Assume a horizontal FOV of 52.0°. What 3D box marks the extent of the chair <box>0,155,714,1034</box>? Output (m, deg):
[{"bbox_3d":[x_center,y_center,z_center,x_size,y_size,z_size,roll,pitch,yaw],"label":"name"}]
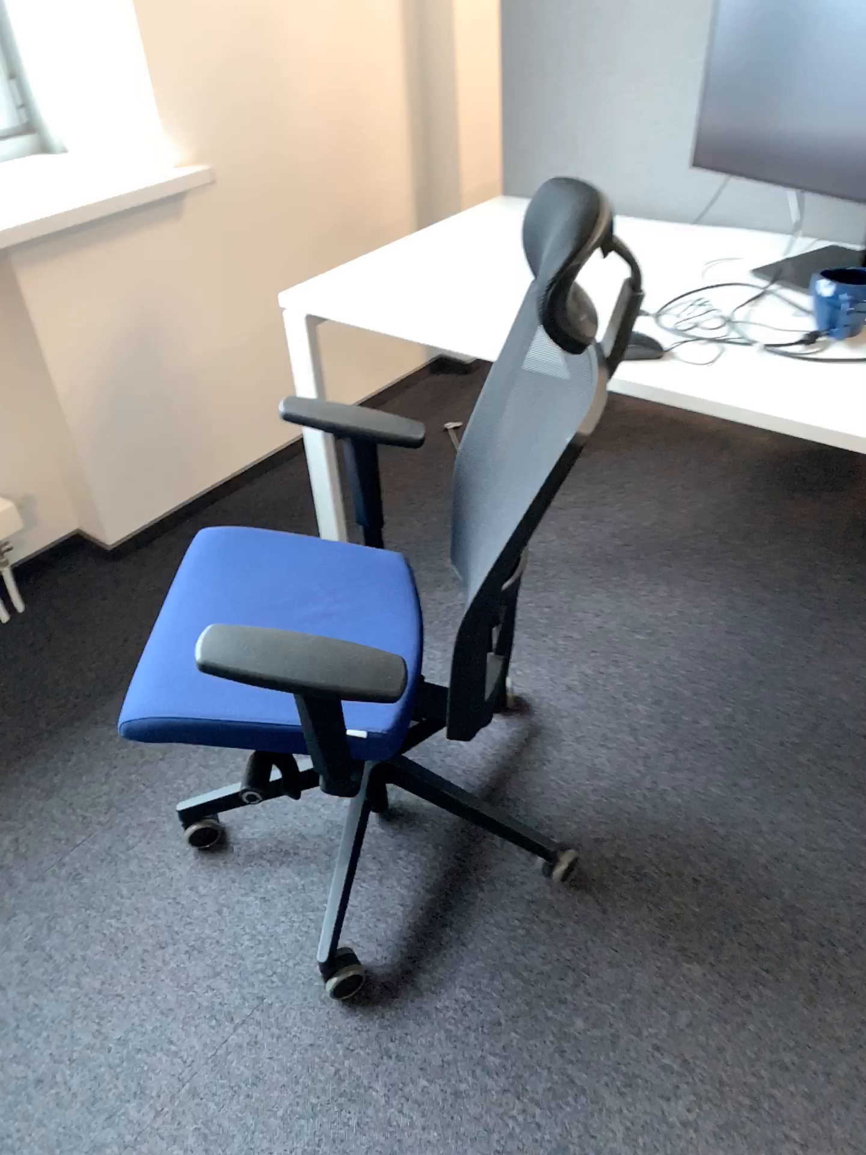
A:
[{"bbox_3d":[-0.087,0.023,1.380,0.790,1.074,0.754,2,37,8],"label":"chair"}]
